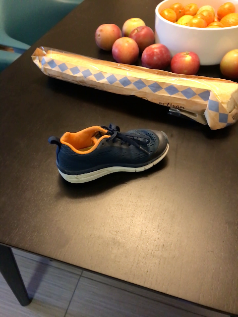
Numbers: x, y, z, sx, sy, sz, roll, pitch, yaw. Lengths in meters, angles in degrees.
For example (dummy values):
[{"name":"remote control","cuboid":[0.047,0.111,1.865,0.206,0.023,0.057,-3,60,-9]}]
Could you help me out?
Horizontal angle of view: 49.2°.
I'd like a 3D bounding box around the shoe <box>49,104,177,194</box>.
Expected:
[{"name":"shoe","cuboid":[-0.010,-0.019,0.434,0.186,0.072,0.084,-14,48,-9]}]
